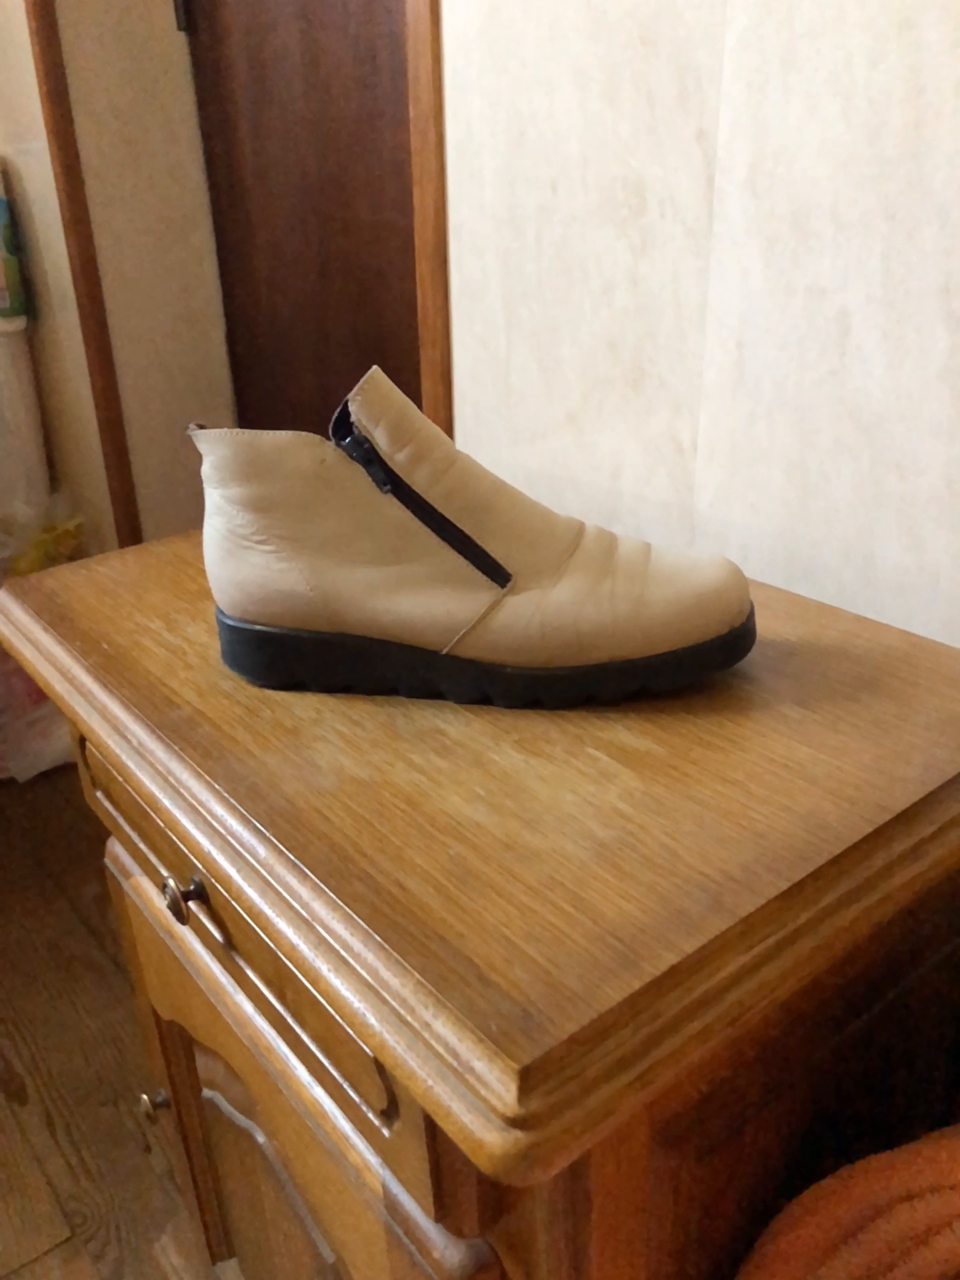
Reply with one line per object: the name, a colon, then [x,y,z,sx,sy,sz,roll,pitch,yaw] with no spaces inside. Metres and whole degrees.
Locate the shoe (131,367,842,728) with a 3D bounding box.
shoe: [0.005,-0.043,0.471,0.270,0.129,0.101,0,24,6]
